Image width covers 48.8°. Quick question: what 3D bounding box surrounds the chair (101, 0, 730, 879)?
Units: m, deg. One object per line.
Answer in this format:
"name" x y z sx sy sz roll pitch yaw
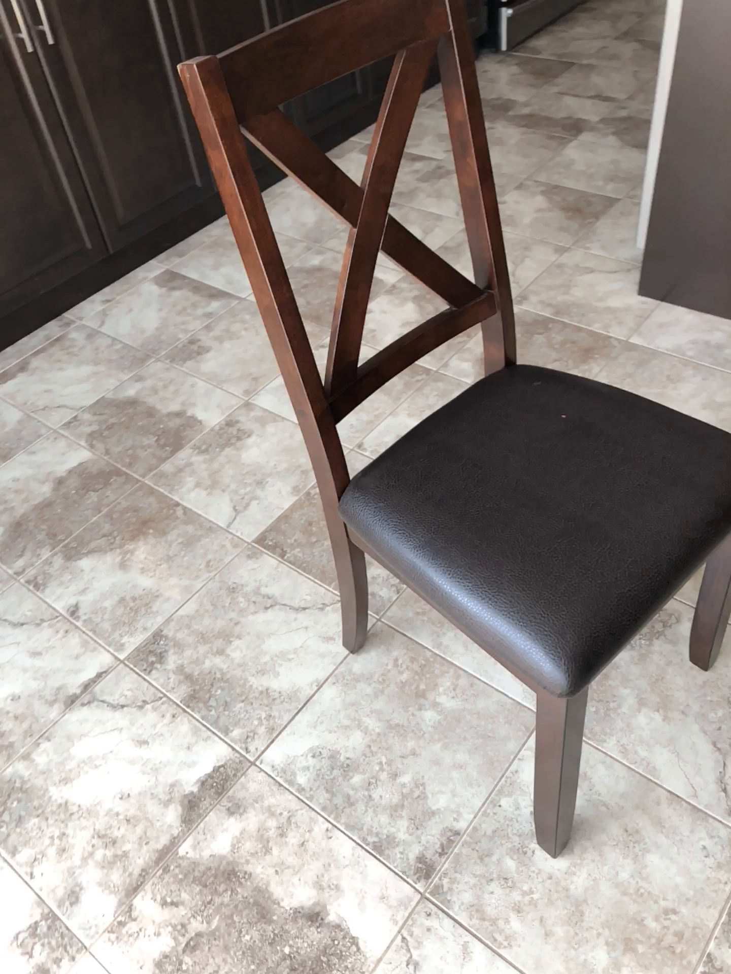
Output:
"chair" 0.176 -0.074 1.027 0.481 0.937 0.602 -36 51 -26
